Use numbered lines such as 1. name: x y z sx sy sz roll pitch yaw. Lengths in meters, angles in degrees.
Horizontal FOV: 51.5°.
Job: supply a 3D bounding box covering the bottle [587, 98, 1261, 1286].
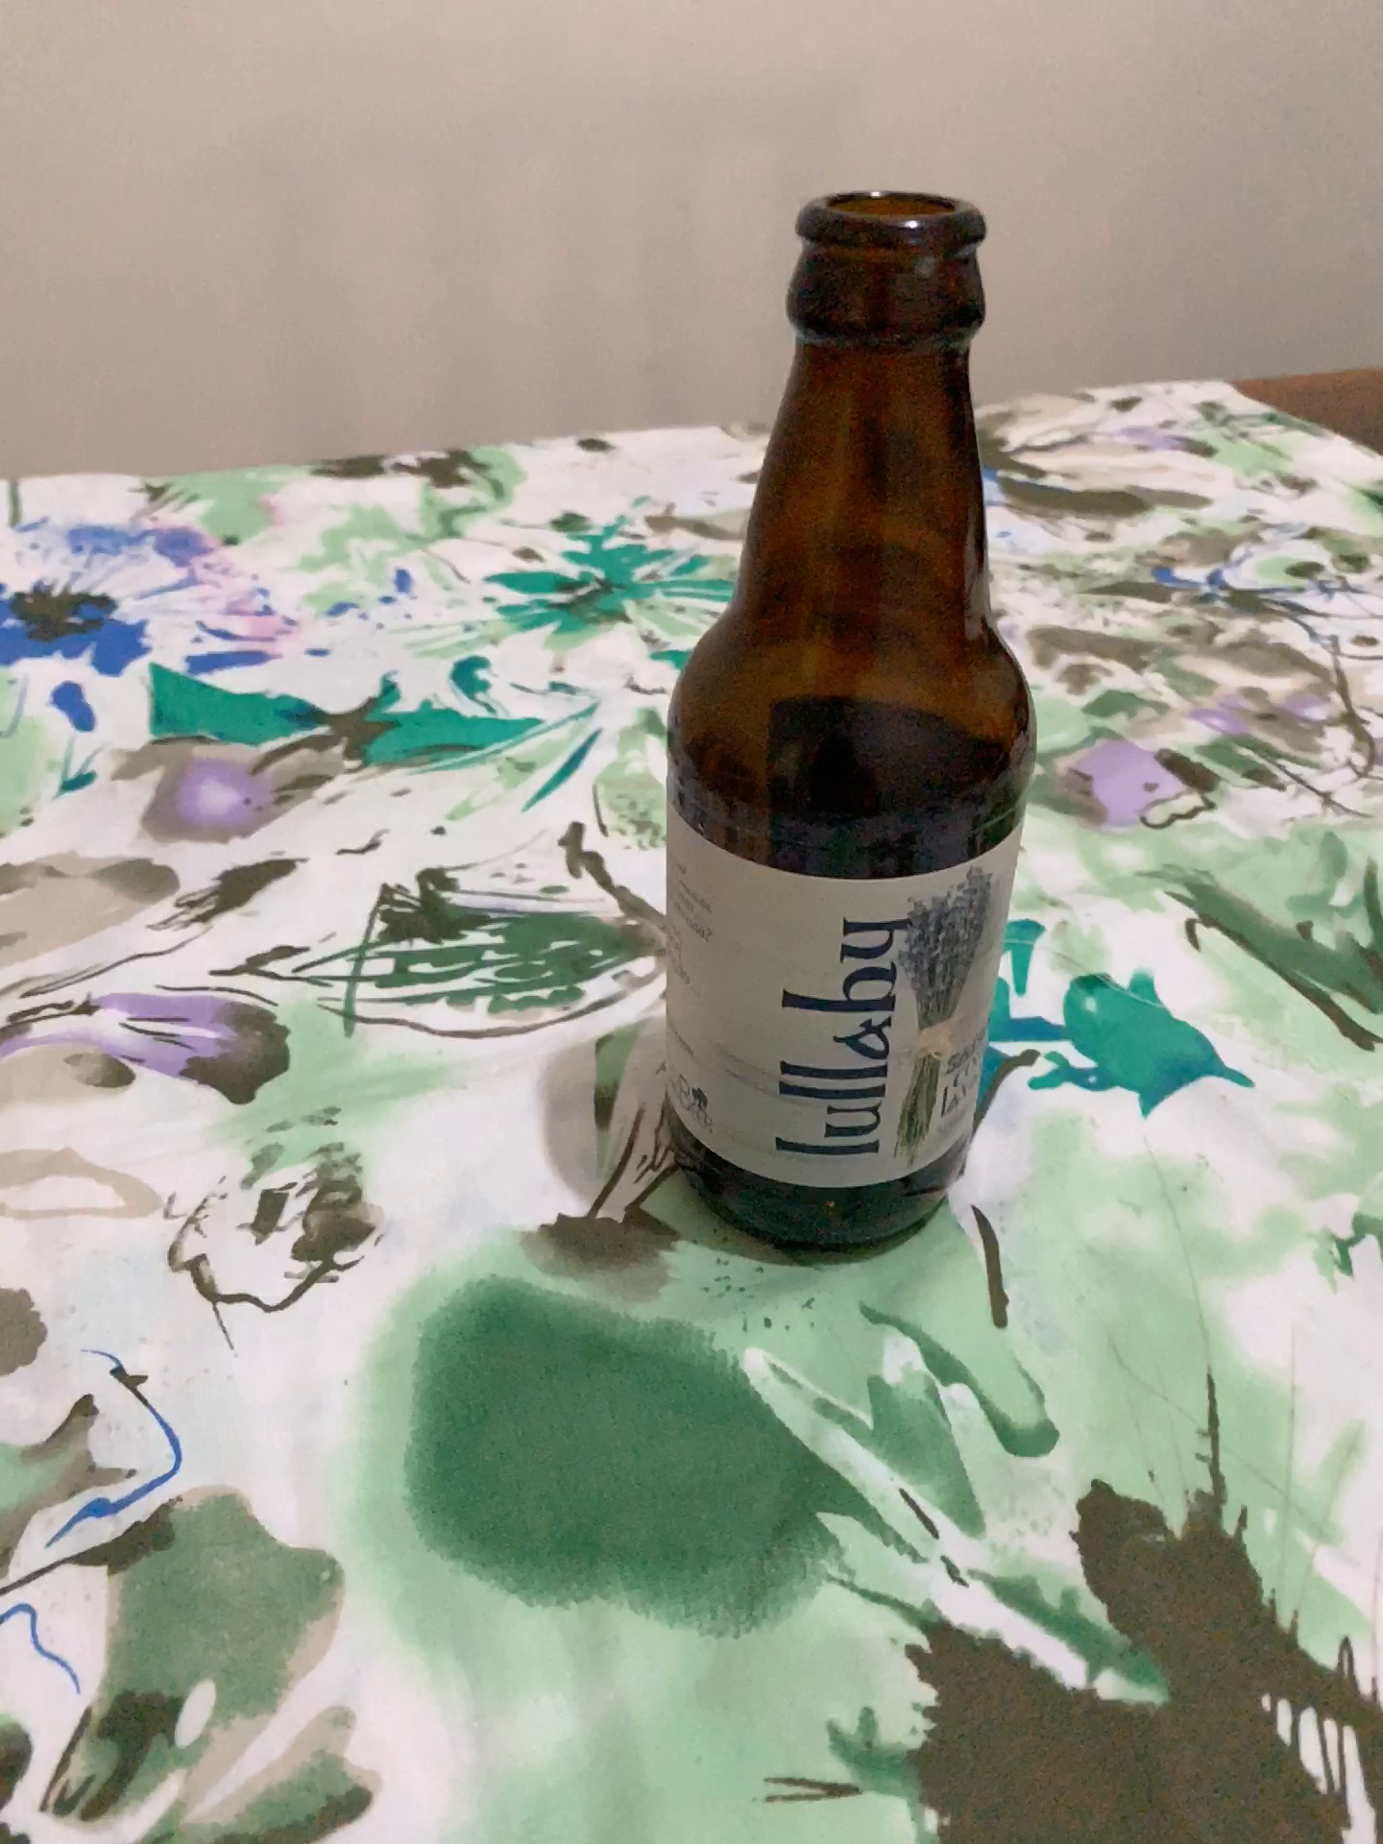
1. bottle: 0.024 -0.031 0.239 0.070 0.179 0.070 1 36 0
